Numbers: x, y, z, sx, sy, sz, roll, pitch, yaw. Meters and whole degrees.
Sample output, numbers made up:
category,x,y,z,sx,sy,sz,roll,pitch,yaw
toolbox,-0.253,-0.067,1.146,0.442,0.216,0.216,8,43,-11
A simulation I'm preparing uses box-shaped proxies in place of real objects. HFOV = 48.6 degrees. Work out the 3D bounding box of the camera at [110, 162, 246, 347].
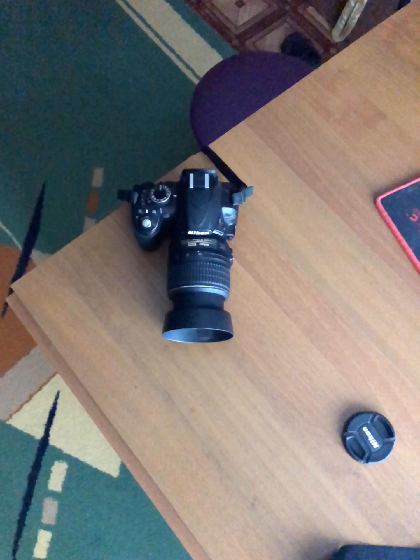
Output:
category,x,y,z,sx,sy,sz,roll,pitch,yaw
camera,-0.030,-0.026,0.530,0.129,0.092,0.183,3,73,0
